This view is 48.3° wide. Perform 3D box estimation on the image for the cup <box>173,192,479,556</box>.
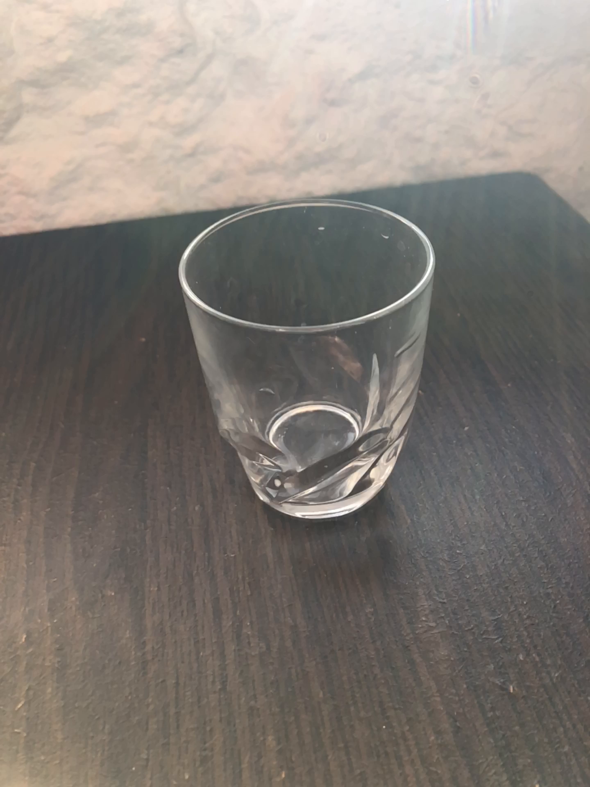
[{"bbox_3d":[0.006,-0.008,0.220,0.078,0.085,0.075,-2,40,2],"label":"cup"}]
